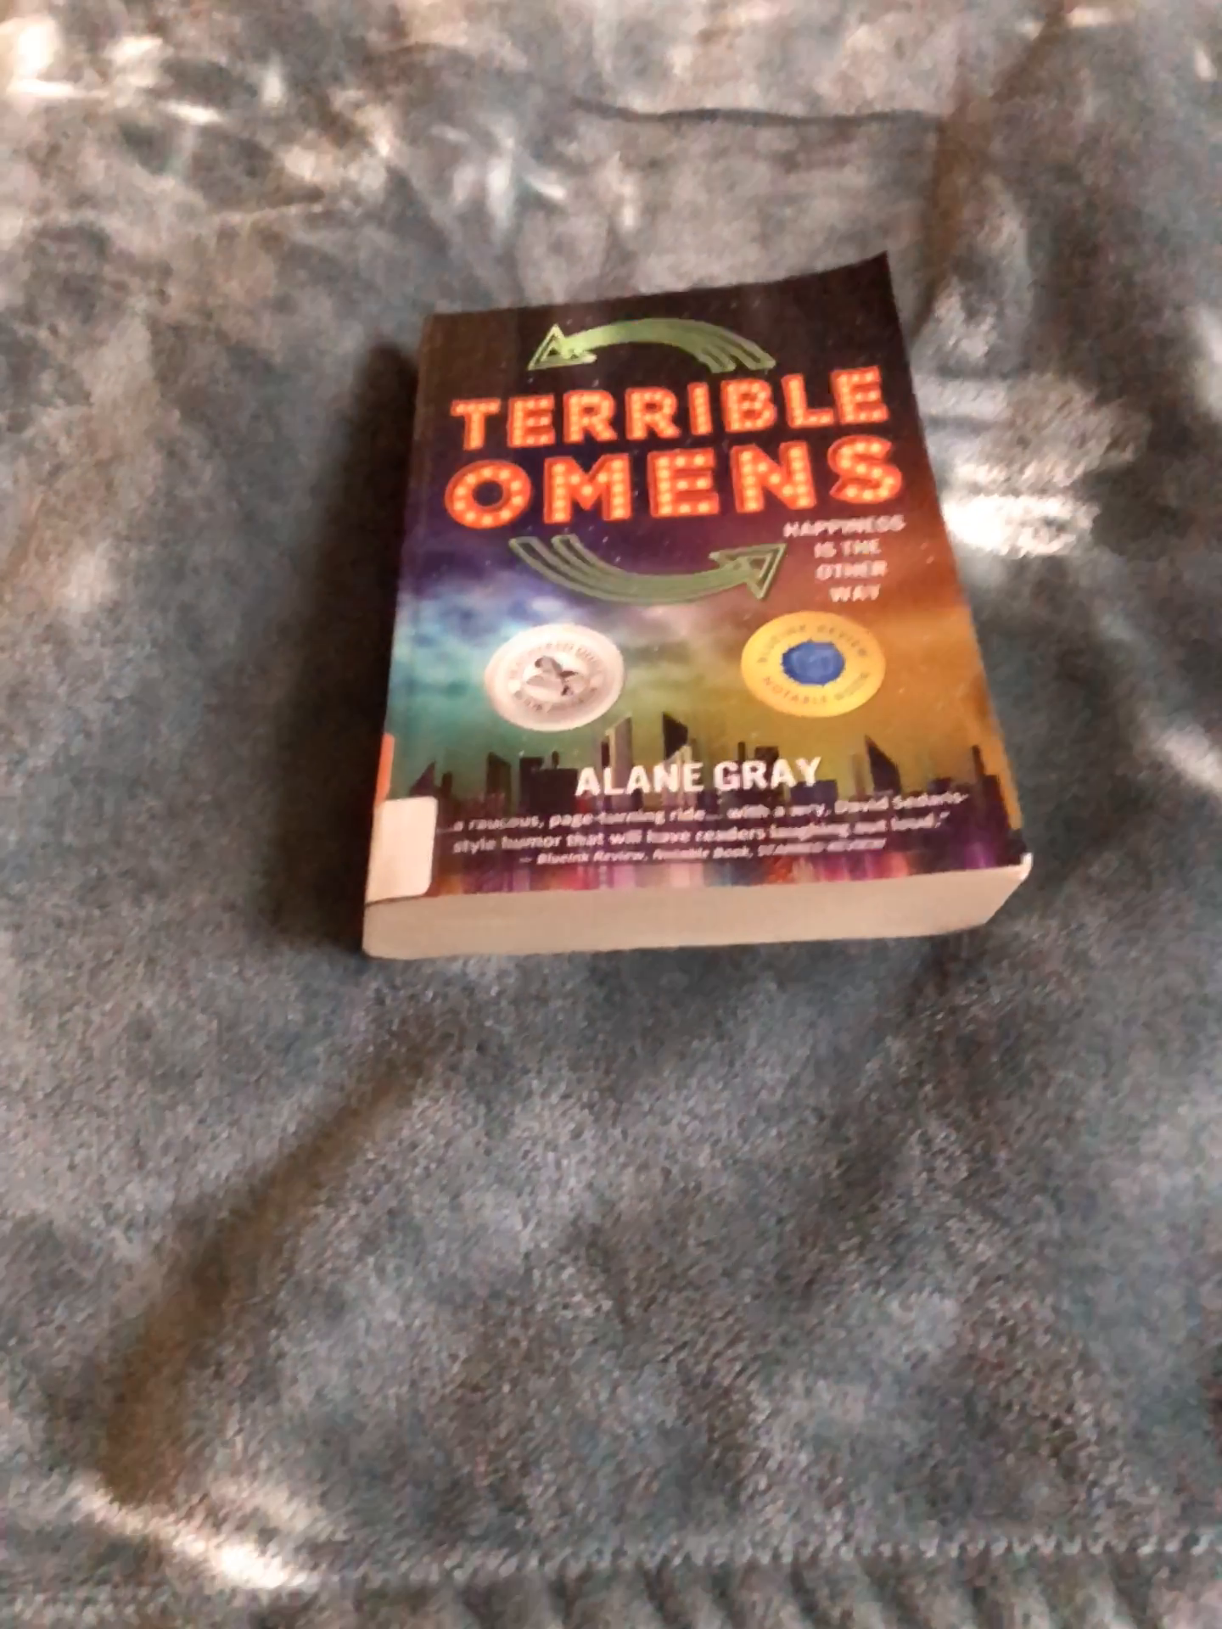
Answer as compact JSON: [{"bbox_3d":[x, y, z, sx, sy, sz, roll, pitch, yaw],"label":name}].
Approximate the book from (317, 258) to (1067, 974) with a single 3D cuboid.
[{"bbox_3d":[0.012,-0.060,0.323,0.140,0.028,0.200,-3,54,1],"label":"book"}]
